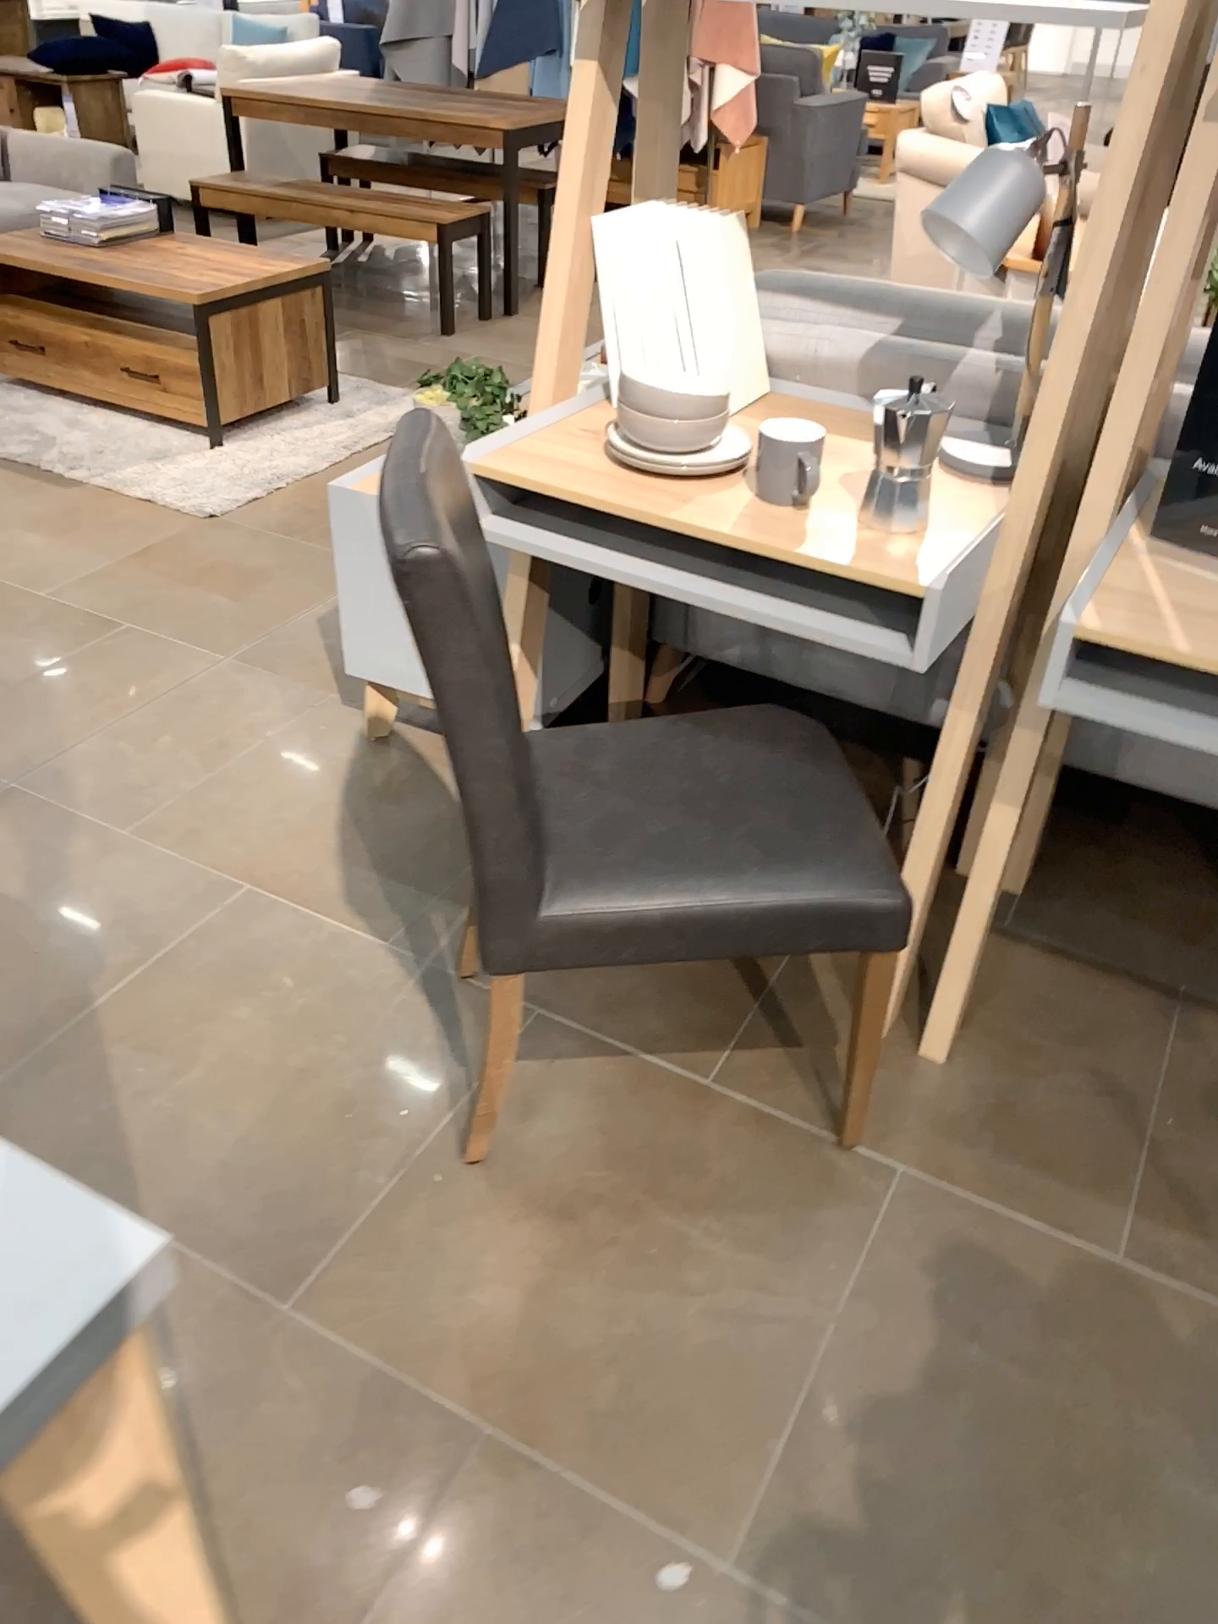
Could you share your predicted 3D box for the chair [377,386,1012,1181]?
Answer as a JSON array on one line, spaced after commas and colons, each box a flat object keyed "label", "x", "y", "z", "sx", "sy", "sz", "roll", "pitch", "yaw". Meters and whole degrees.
[{"label": "chair", "x": 0.042, "y": -0.028, "z": 1.596, "sx": 0.605, "sy": 0.886, "sz": 0.461, "roll": -2, "pitch": 35, "yaw": -8}]
